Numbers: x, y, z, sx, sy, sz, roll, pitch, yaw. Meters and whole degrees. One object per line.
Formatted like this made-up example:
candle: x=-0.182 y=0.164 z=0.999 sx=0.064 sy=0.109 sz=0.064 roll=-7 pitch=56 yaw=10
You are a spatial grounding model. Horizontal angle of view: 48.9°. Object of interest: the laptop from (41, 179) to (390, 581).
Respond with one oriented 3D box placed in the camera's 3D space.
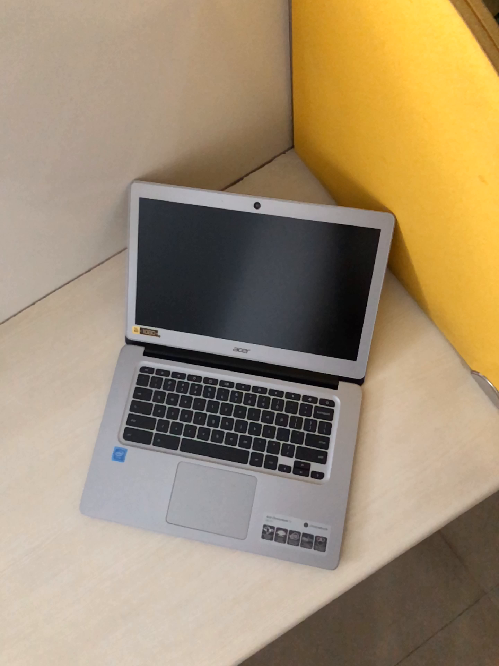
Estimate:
laptop: x=-0.026 y=0.044 z=0.680 sx=0.319 sy=0.124 sz=0.409 roll=10 pitch=77 yaw=8
